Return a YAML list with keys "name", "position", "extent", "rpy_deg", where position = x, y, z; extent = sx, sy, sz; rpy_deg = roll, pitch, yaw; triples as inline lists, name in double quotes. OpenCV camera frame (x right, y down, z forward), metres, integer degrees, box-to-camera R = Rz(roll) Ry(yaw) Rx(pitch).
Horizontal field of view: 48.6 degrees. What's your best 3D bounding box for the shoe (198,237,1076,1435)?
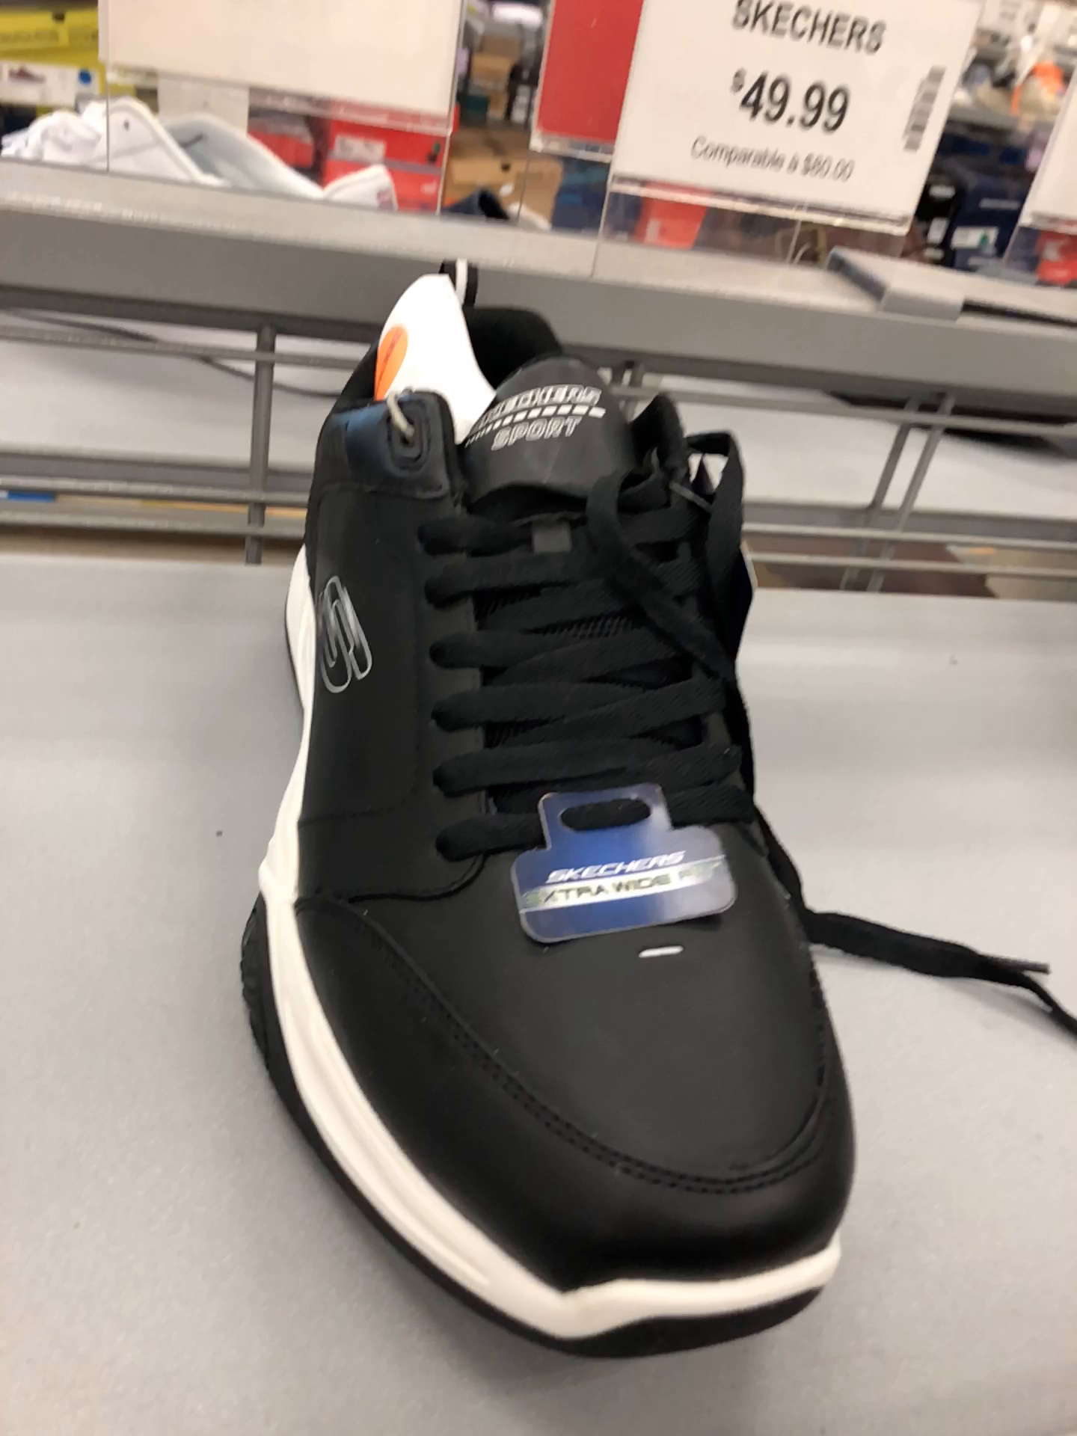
- name: "shoe"
  position: [-0.021, -0.018, 0.327]
  extent: [0.130, 0.109, 0.353]
  rpy_deg: [1, 36, -18]
